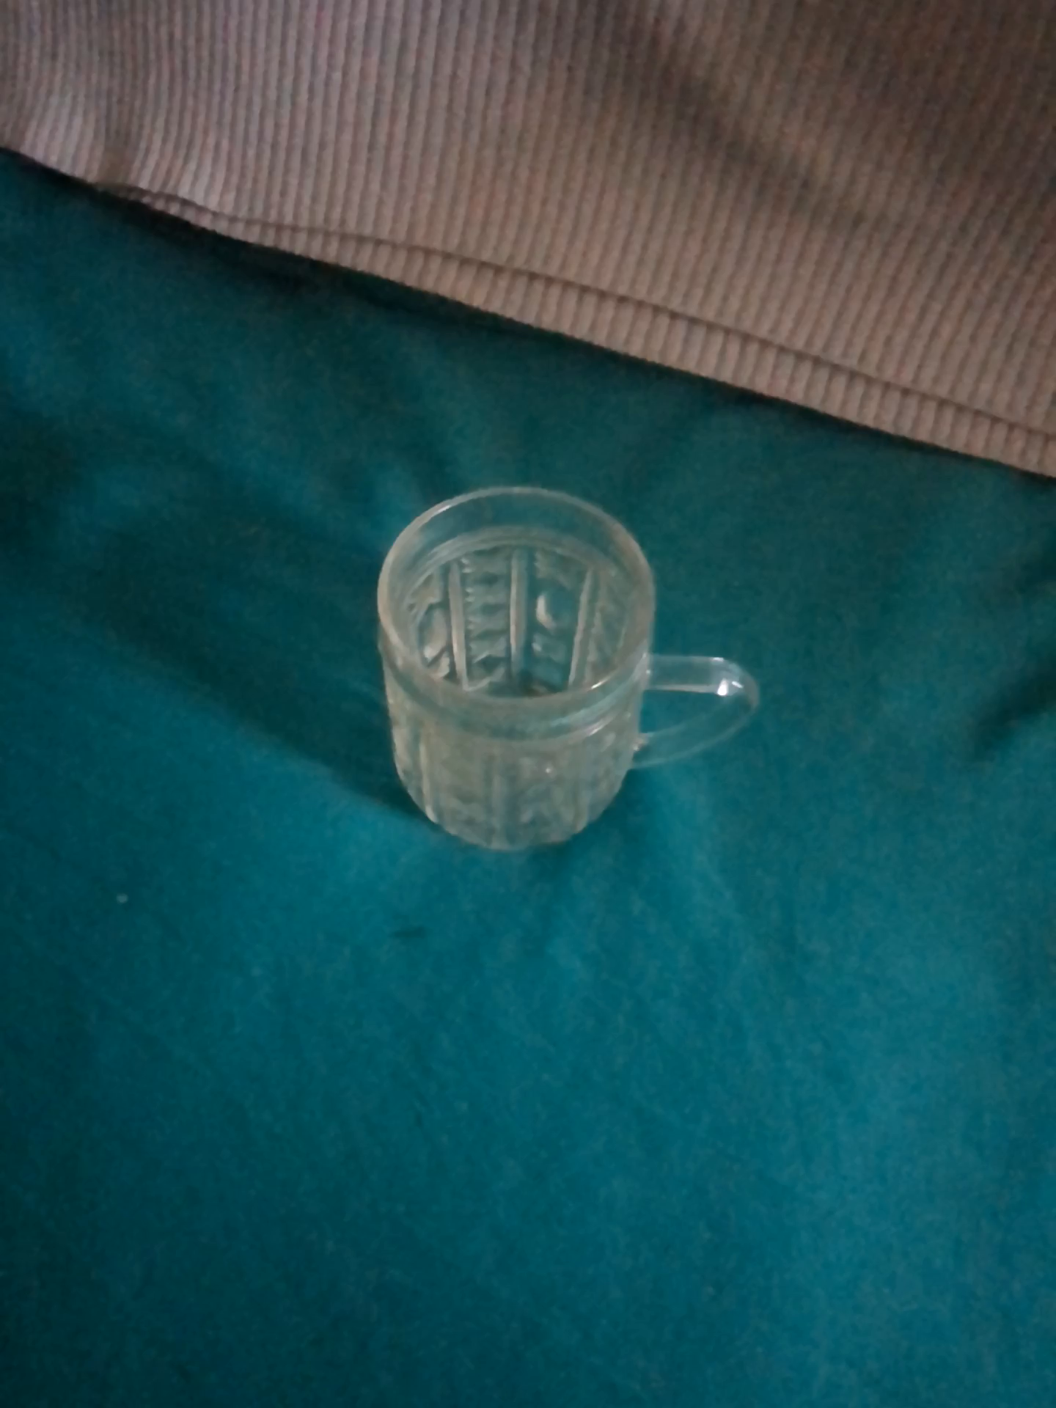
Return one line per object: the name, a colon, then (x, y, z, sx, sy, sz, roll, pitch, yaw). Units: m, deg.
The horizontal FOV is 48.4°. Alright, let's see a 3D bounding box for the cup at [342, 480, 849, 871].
cup: (0.013, -0.004, 0.289, 0.104, 0.076, 0.064, 2, 62, -1)
